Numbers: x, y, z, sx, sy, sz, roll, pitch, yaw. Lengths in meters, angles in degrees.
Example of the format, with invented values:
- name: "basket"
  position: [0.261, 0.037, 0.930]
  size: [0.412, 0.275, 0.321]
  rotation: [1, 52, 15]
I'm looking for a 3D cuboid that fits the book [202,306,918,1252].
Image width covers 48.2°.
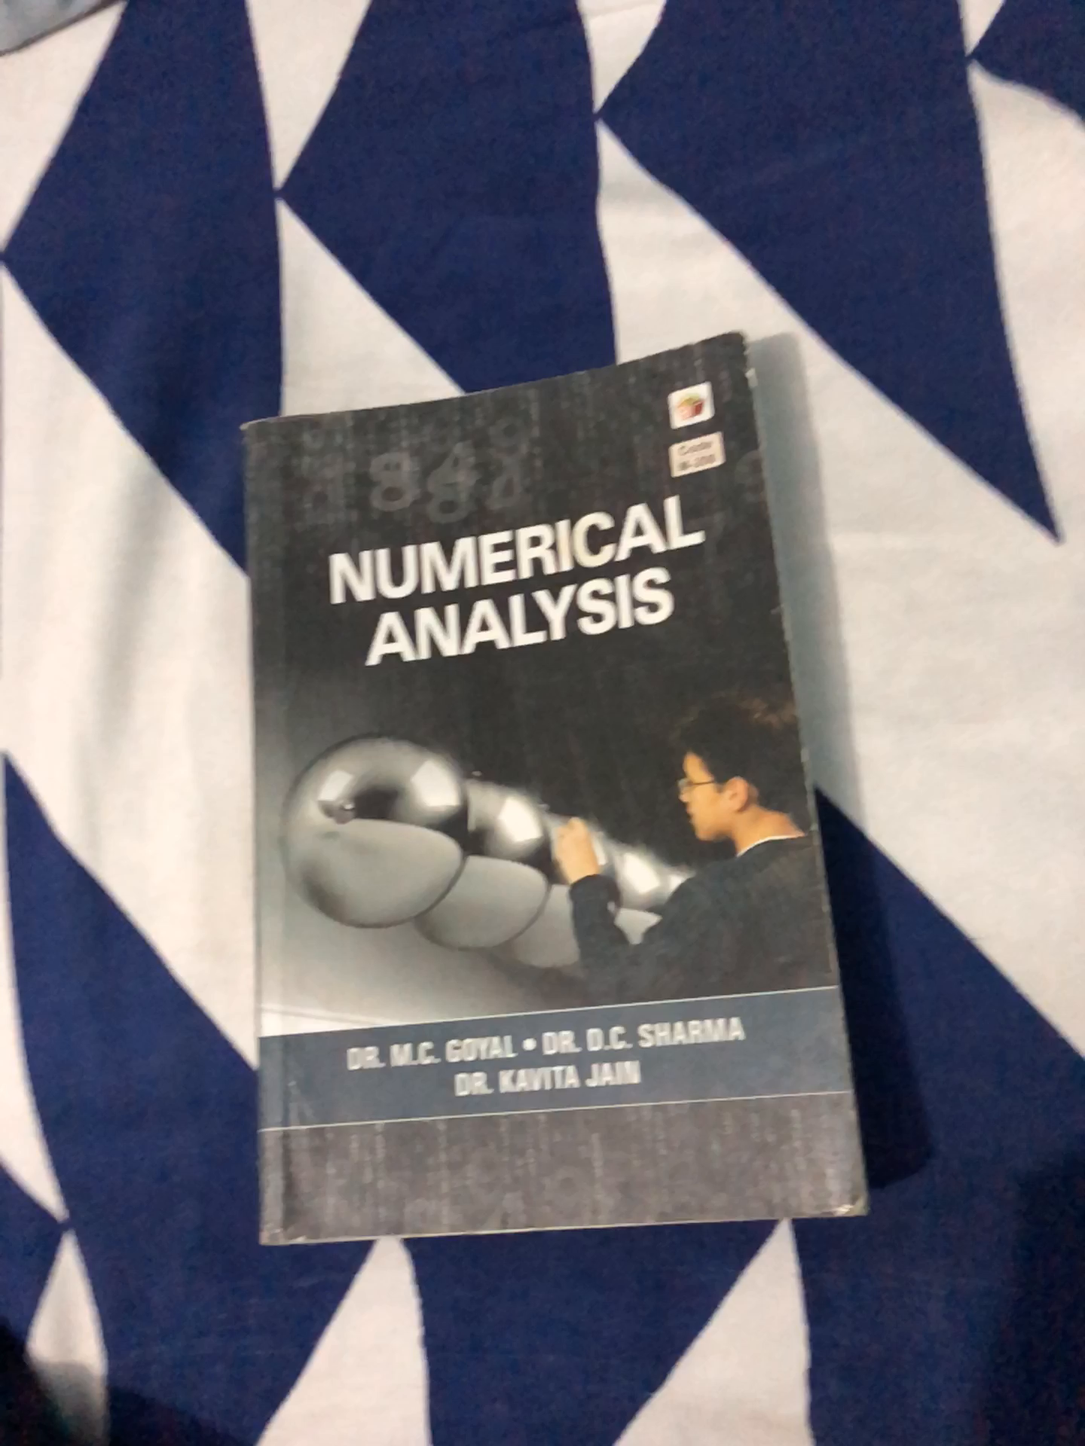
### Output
- name: "book"
  position: [-0.003, 0.012, 0.274]
  size: [0.140, 0.030, 0.190]
  rotation: [-7, 77, 11]
